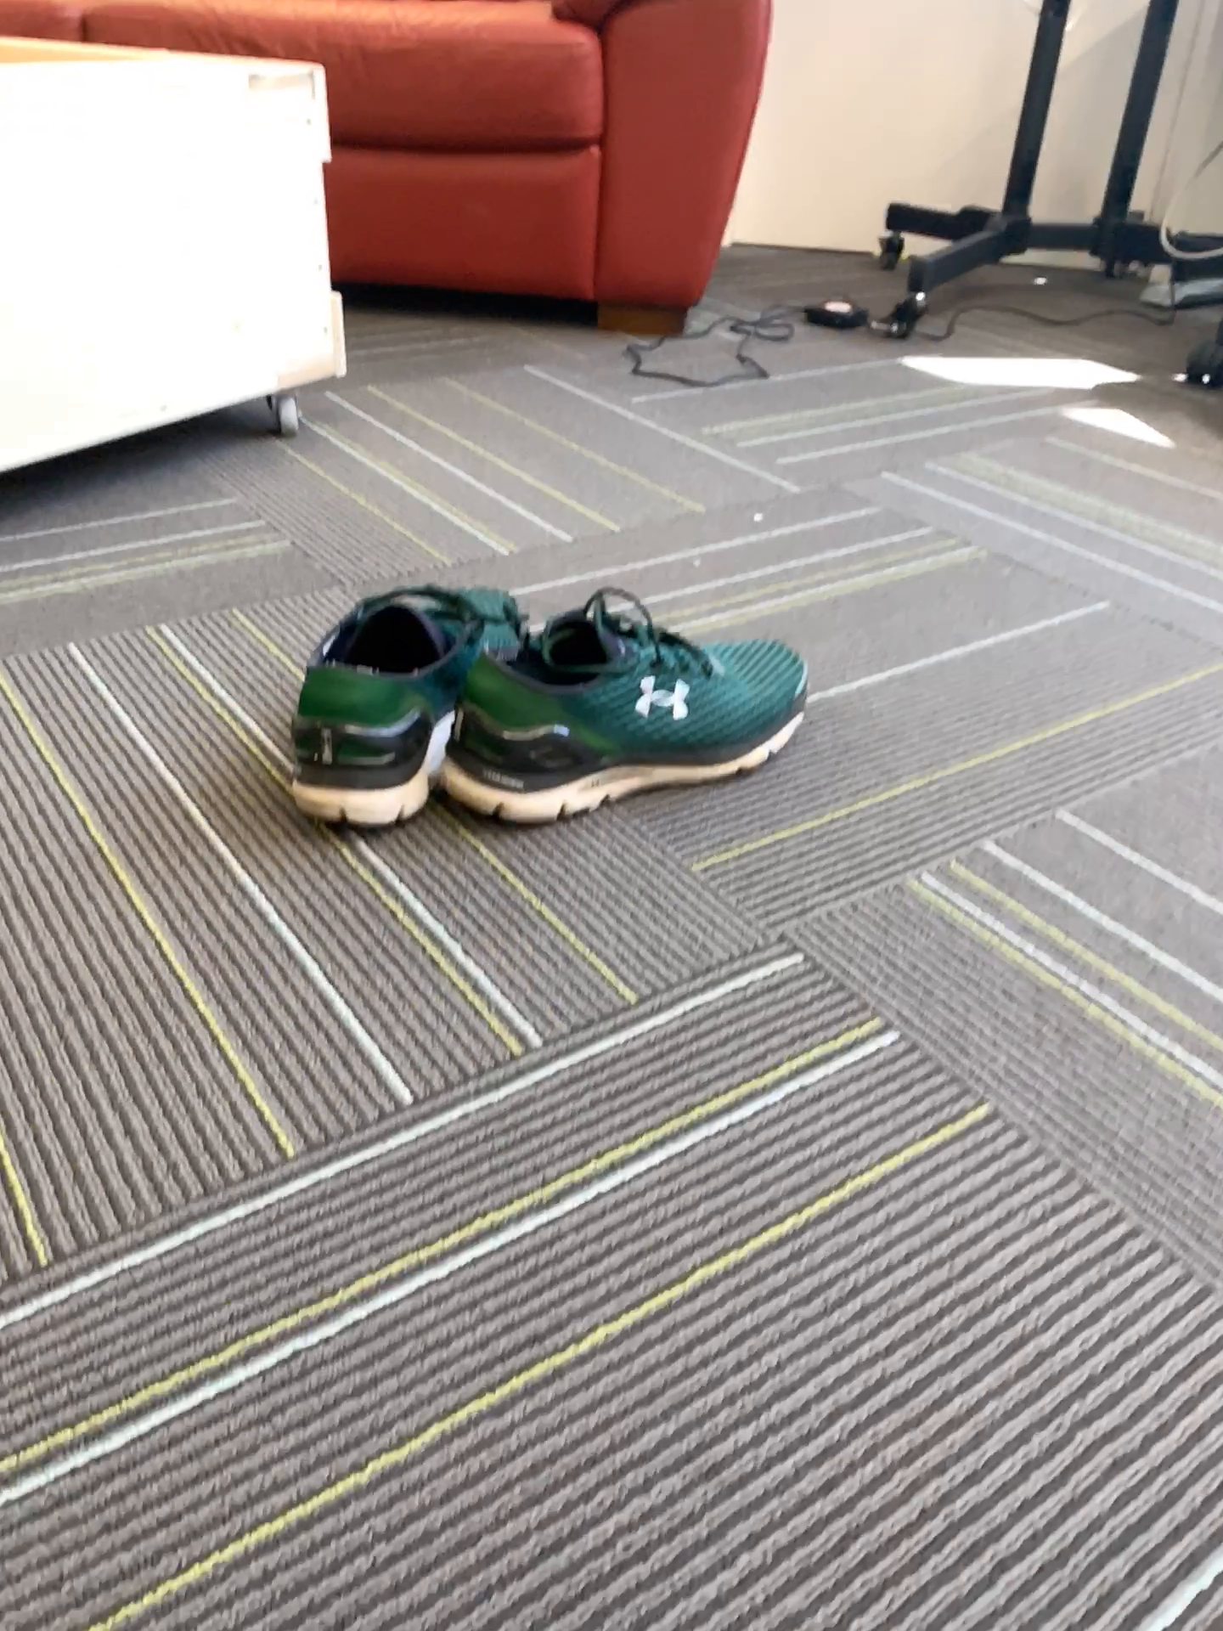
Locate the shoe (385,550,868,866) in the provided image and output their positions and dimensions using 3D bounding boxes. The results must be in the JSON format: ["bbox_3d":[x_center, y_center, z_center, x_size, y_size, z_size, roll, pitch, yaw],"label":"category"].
[{"bbox_3d":[0.013,-0.086,0.889,0.310,0.119,0.121,-16,37,-27],"label":"shoe"}]

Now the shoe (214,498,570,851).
[{"bbox_3d":[-0.137,-0.115,0.895,0.120,0.109,0.312,11,34,13],"label":"shoe"}]
